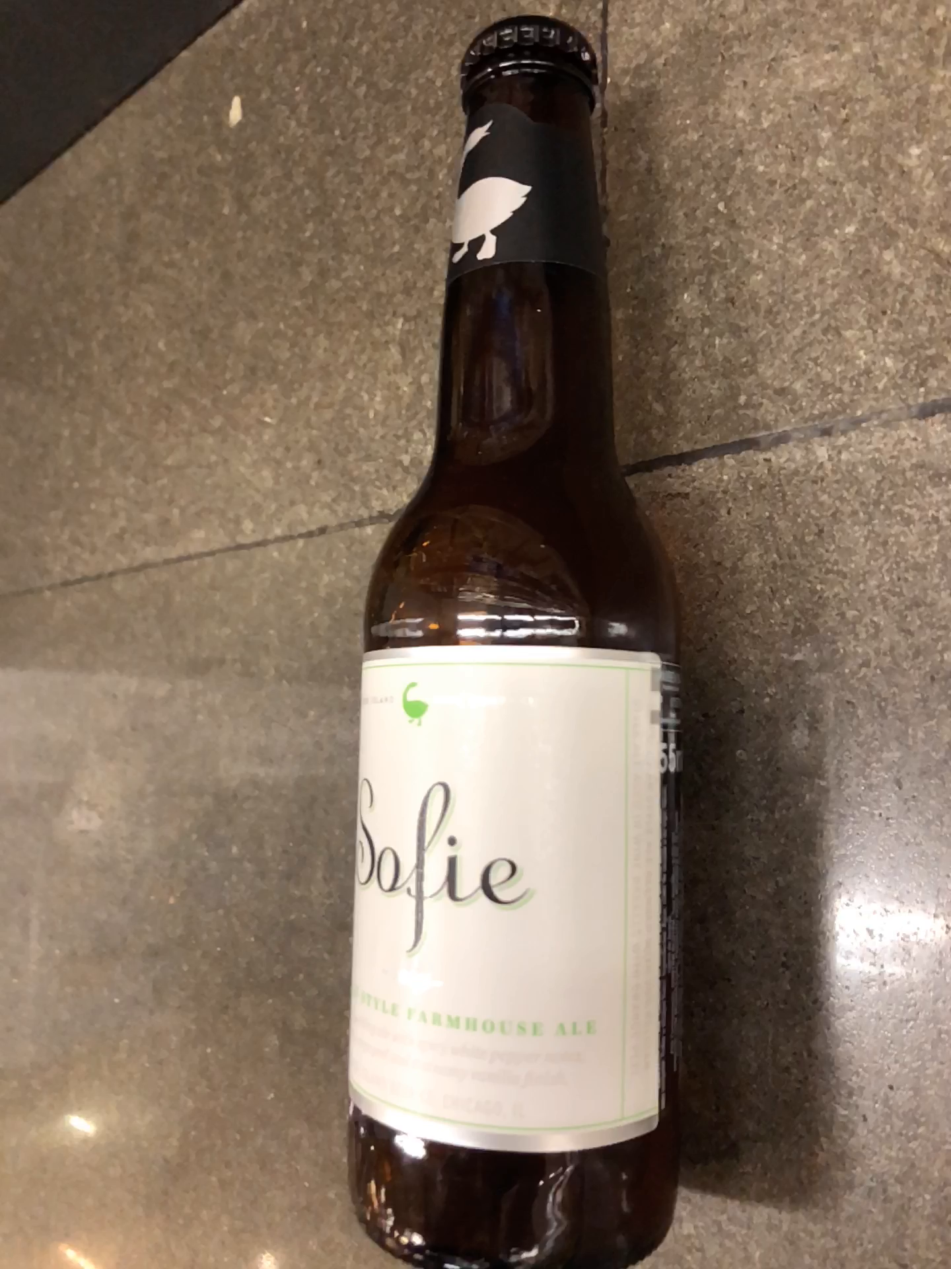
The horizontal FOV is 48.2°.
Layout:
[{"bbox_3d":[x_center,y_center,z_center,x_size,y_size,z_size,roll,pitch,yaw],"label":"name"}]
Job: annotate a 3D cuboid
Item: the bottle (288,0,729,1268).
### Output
[{"bbox_3d":[0.005,-0.010,0.203,0.070,0.040,0.240,-6,80,45],"label":"bottle"}]
